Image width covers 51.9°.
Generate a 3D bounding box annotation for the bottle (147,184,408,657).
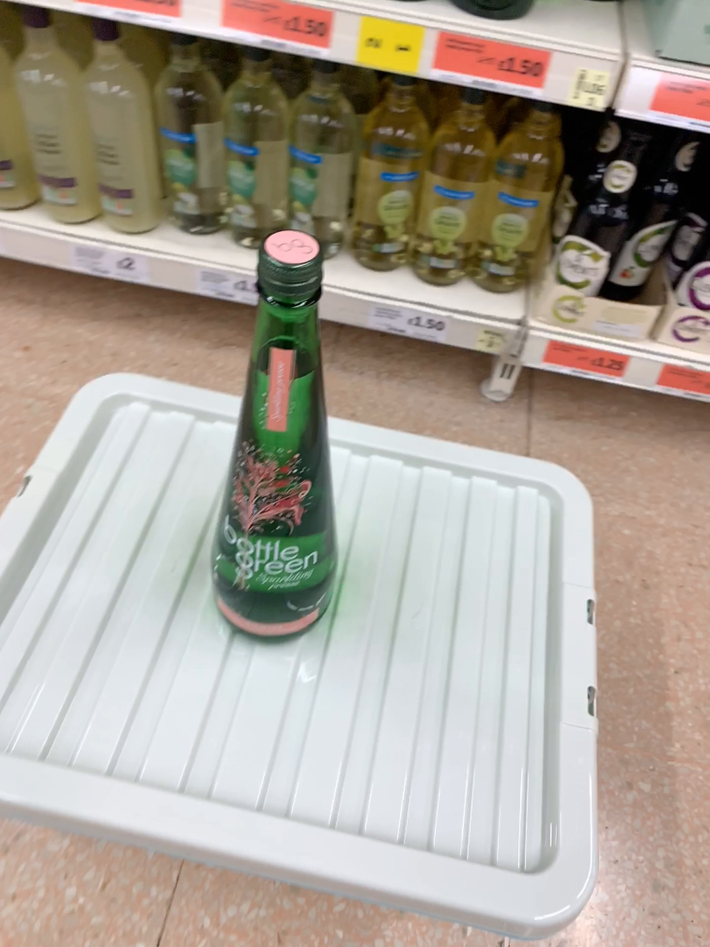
[{"bbox_3d":[-0.042,-0.003,0.417,0.090,0.287,0.085,3,52,-4],"label":"bottle"}]
